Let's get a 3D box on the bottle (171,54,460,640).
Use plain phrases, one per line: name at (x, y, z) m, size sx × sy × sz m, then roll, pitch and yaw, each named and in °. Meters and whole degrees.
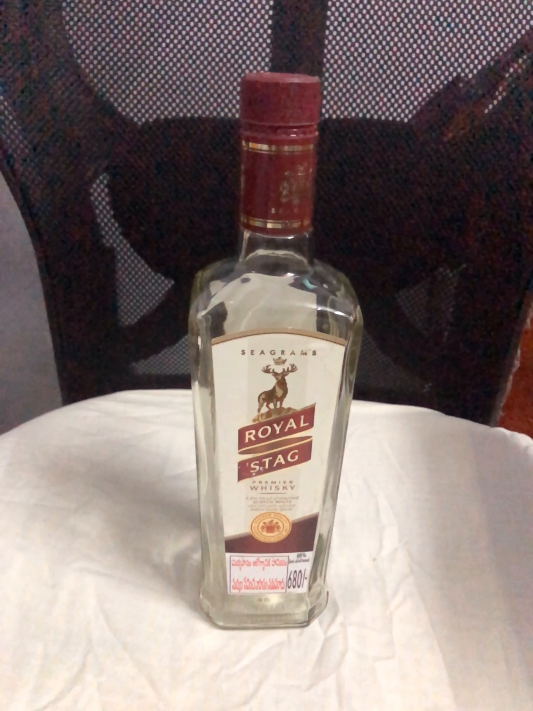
bottle at (0.007, 0.019, 0.280) m, size 0.090 × 0.278 × 0.060 m, roll 3°, pitch 30°, yaw -3°
